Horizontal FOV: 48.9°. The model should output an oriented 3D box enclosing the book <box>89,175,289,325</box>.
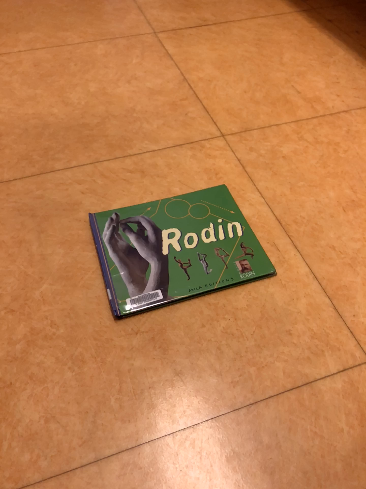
[{"bbox_3d":[0.000,-0.005,0.602,0.244,0.030,0.201,-14,52,-13],"label":"book"}]
